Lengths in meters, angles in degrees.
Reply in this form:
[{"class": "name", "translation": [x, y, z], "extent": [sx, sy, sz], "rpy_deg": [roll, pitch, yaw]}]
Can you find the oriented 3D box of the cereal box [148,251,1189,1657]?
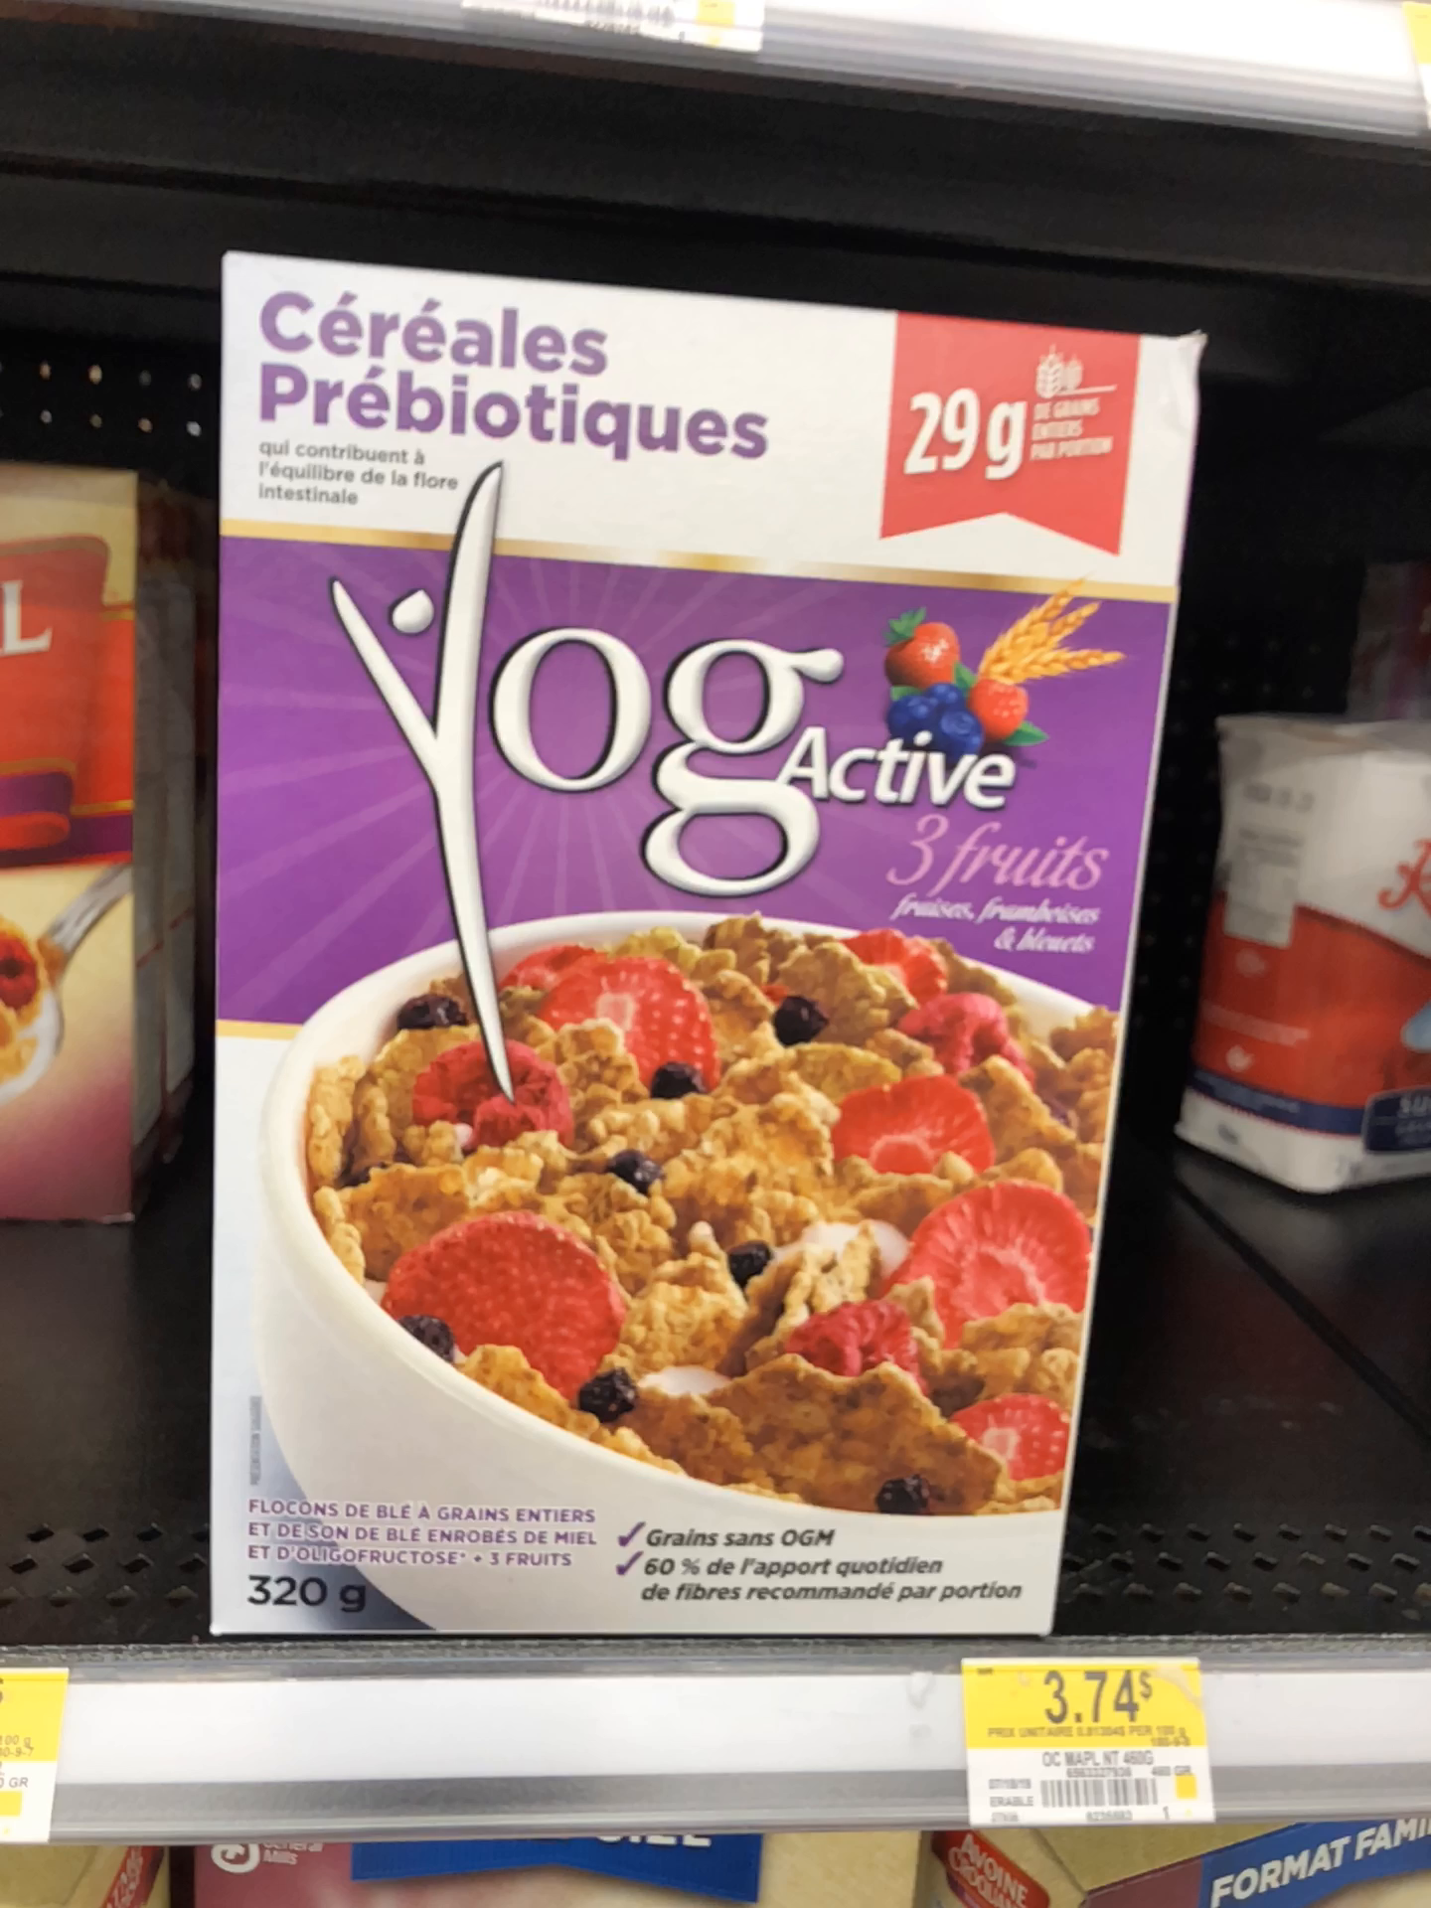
[{"class": "cereal box", "translation": [-0.018, 0.010, 0.349], "extent": [0.190, 0.279, 0.060], "rpy_deg": [3, 12, -6]}]
